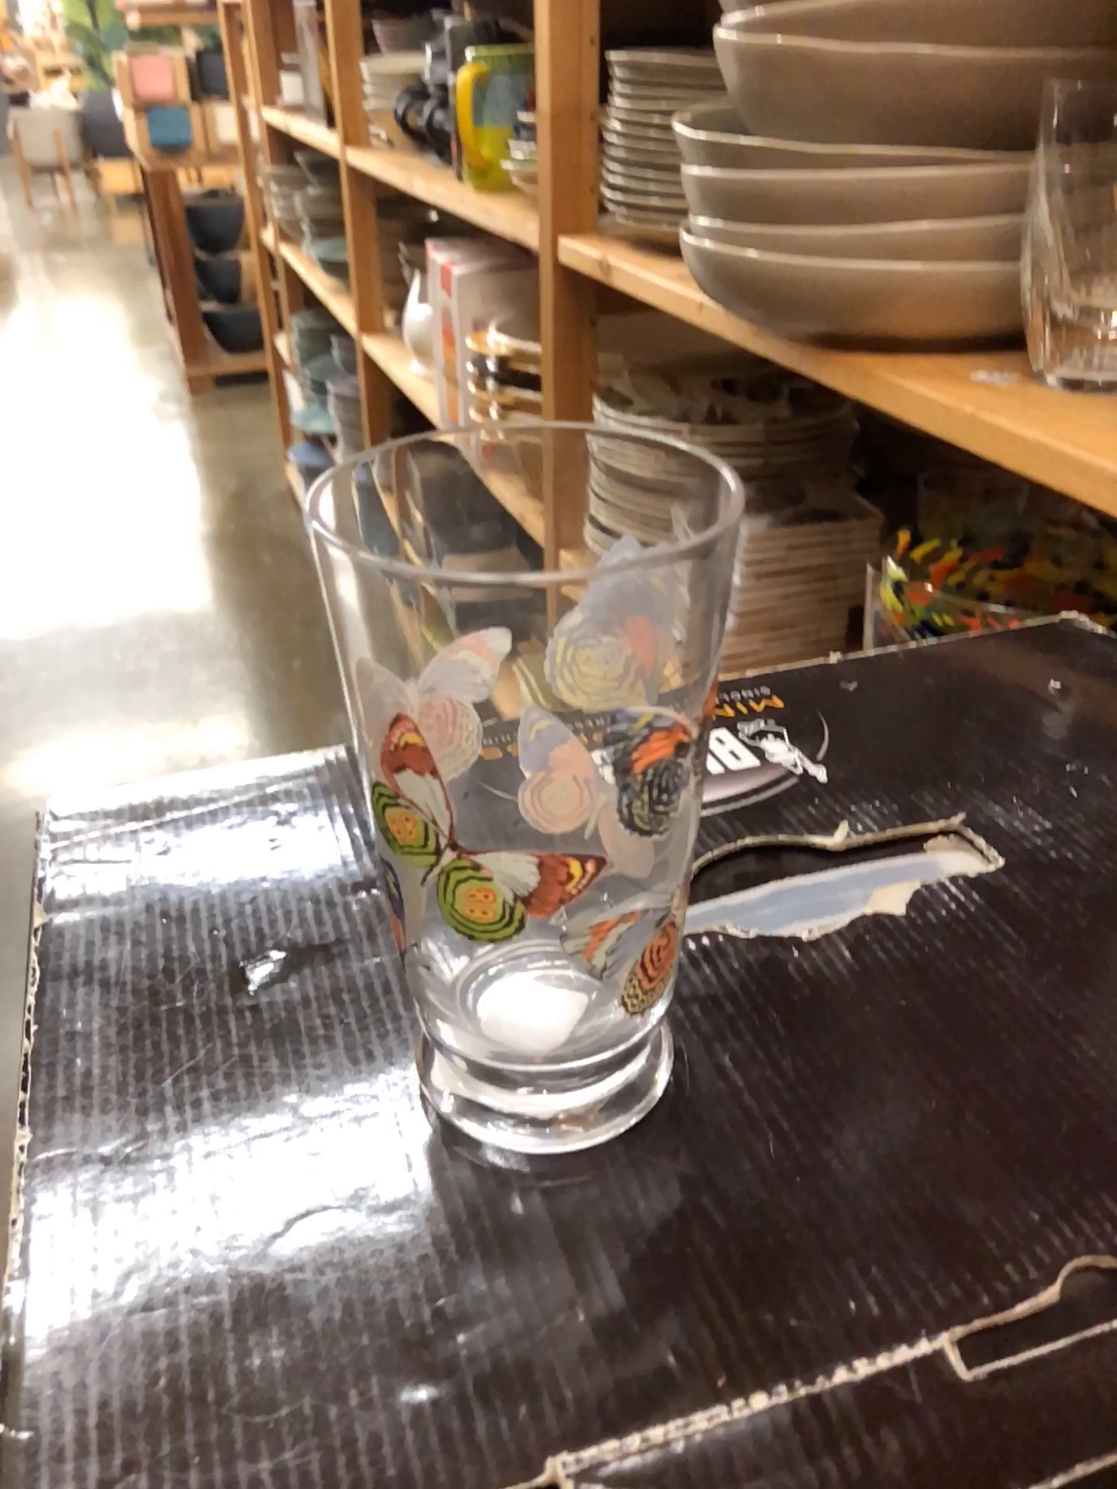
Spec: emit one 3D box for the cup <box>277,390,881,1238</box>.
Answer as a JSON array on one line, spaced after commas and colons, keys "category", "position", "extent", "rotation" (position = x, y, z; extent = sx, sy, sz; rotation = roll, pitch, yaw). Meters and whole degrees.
[{"category": "cup", "position": [-0.001, 0.010, 0.229], "extent": [0.079, 0.125, 0.075], "rotation": [-1, 30, 1]}]
